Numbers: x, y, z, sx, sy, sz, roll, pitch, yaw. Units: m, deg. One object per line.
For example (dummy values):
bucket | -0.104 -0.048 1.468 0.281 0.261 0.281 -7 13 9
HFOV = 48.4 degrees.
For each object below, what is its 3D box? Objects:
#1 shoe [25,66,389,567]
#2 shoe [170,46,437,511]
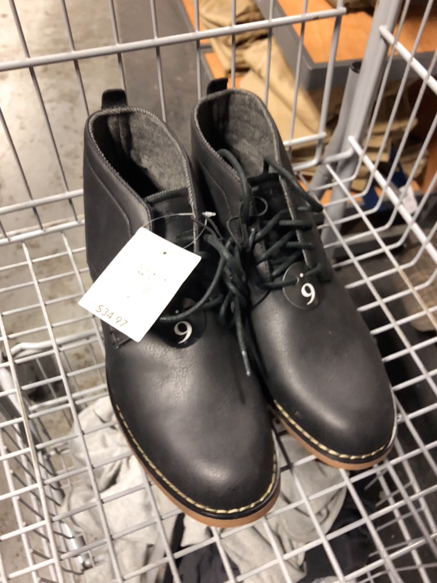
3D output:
shoe | -0.031 0.023 0.330 0.100 0.199 0.261 -16 62 -14
shoe | 0.054 -0.005 0.366 0.100 0.199 0.271 -16 62 -14
